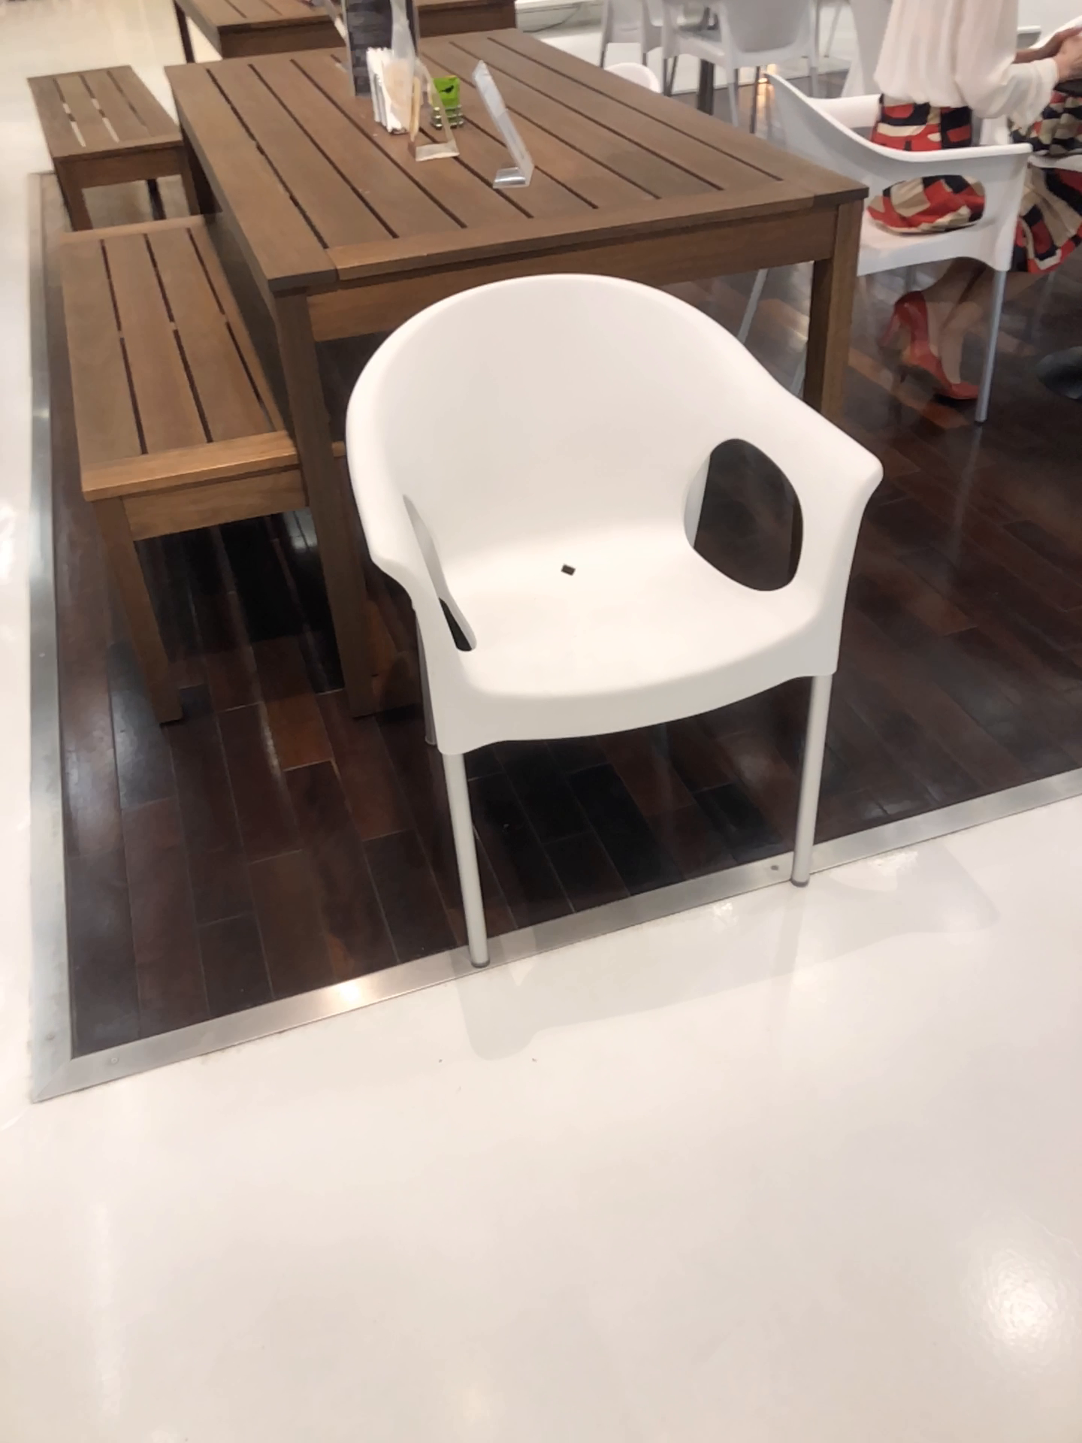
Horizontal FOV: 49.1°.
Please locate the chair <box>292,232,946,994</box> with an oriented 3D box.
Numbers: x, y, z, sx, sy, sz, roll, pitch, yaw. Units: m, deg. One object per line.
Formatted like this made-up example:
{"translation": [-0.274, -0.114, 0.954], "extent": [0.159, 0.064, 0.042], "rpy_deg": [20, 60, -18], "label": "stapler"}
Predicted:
{"translation": [0.065, -0.162, 1.557], "extent": [0.581, 0.705, 0.564], "rpy_deg": [-13, 39, -12], "label": "chair"}
